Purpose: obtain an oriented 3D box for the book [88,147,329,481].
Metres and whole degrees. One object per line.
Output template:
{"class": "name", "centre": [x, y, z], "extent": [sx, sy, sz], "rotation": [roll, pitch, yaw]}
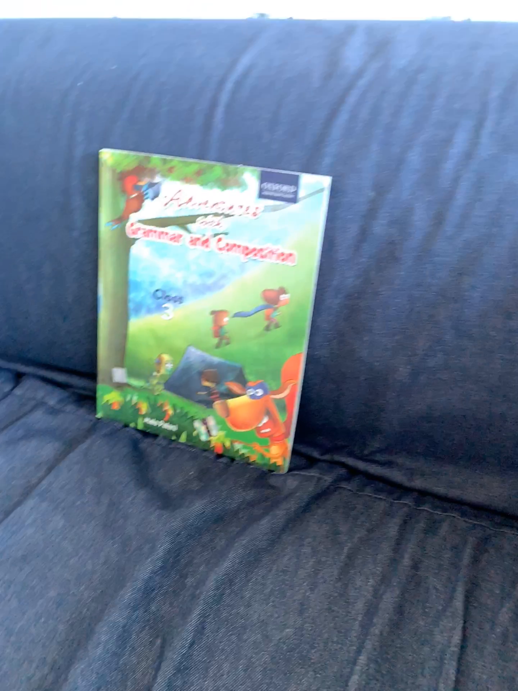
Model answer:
{"class": "book", "centre": [-0.061, -0.030, 0.489], "extent": [0.212, 0.268, 0.030], "rotation": [14, 21, 20]}
